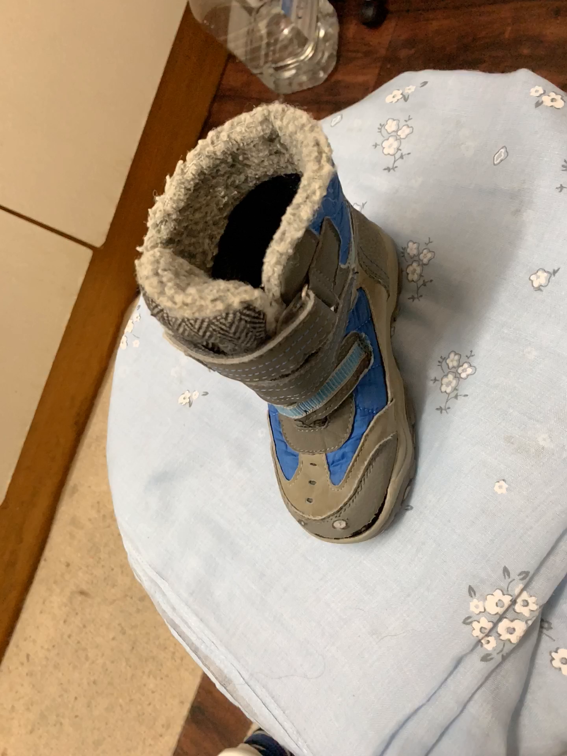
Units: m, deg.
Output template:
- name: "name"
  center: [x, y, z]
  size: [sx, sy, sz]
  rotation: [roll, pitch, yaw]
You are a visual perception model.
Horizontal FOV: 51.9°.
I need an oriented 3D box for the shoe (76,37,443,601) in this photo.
- name: "shoe"
  center: [0.007, -0.013, 0.290]
  size: [0.090, 0.159, 0.200]
  rotation: [-2, 78, 33]
